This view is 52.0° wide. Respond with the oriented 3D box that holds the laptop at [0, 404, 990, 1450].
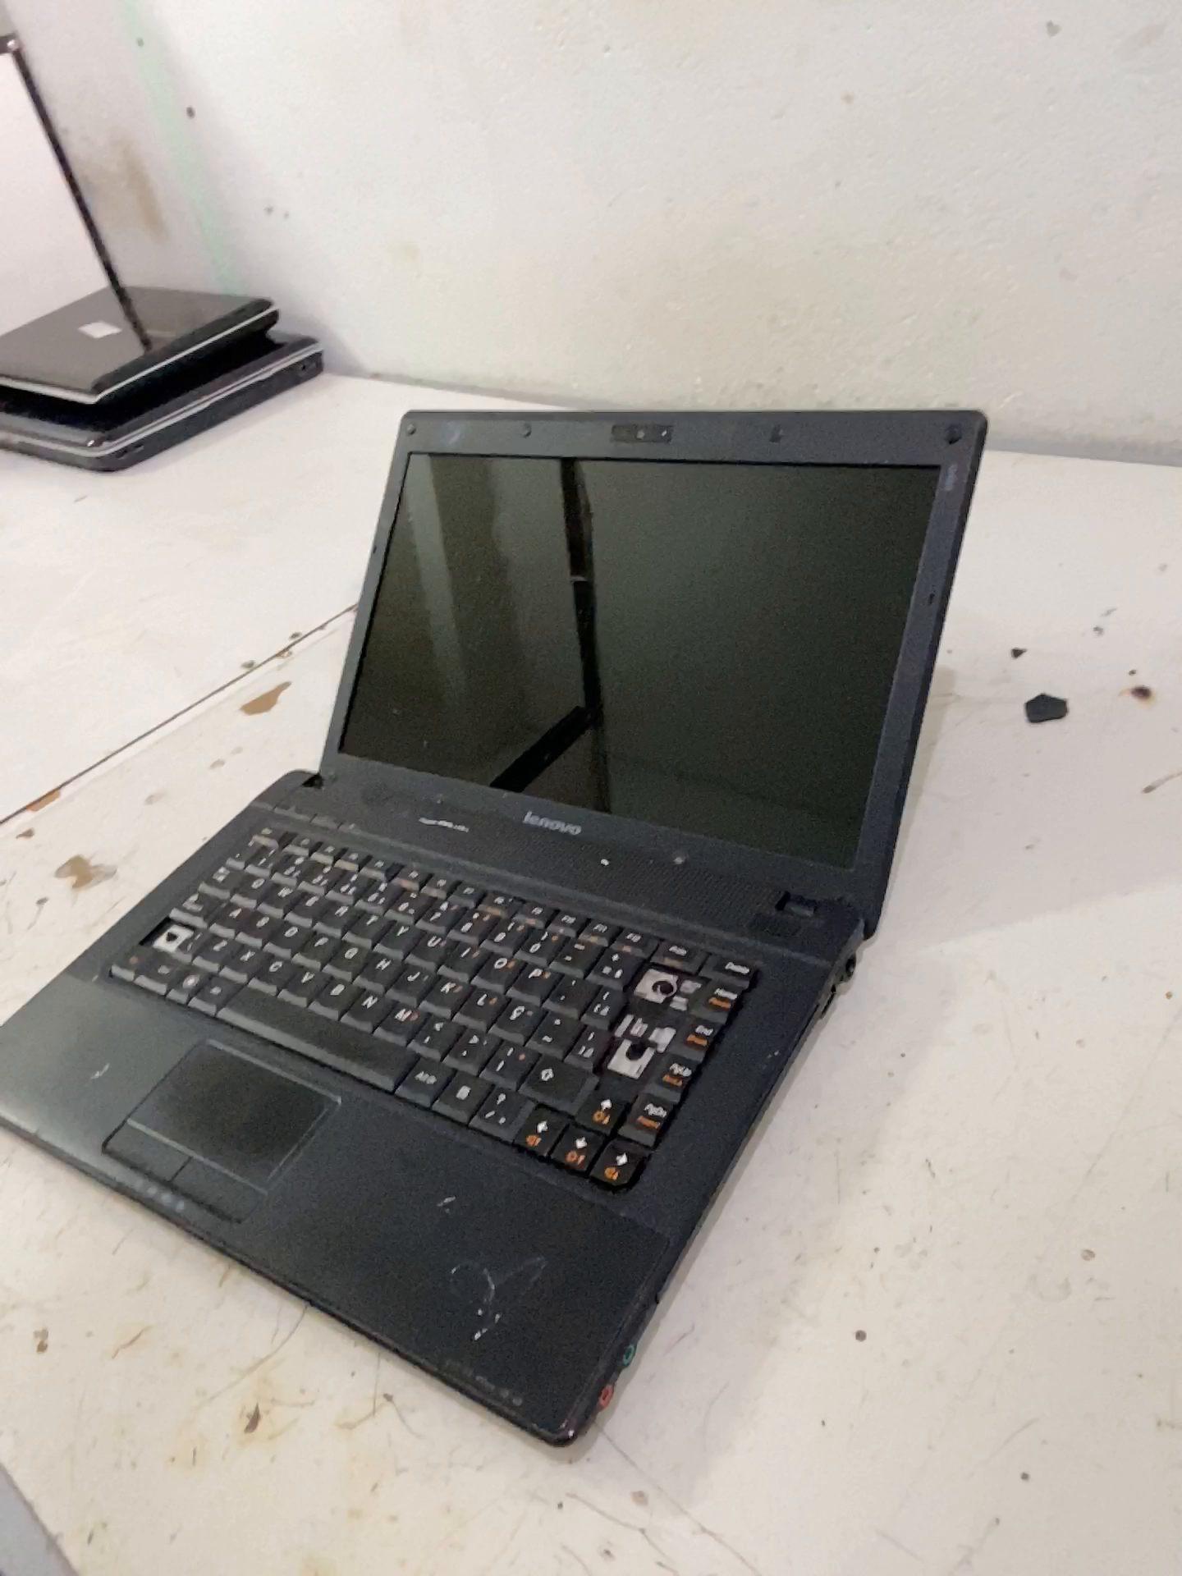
[{"bbox_3d":[-0.065,-0.015,0.555,0.358,0.147,0.424,12,44,33],"label":"laptop"}]
